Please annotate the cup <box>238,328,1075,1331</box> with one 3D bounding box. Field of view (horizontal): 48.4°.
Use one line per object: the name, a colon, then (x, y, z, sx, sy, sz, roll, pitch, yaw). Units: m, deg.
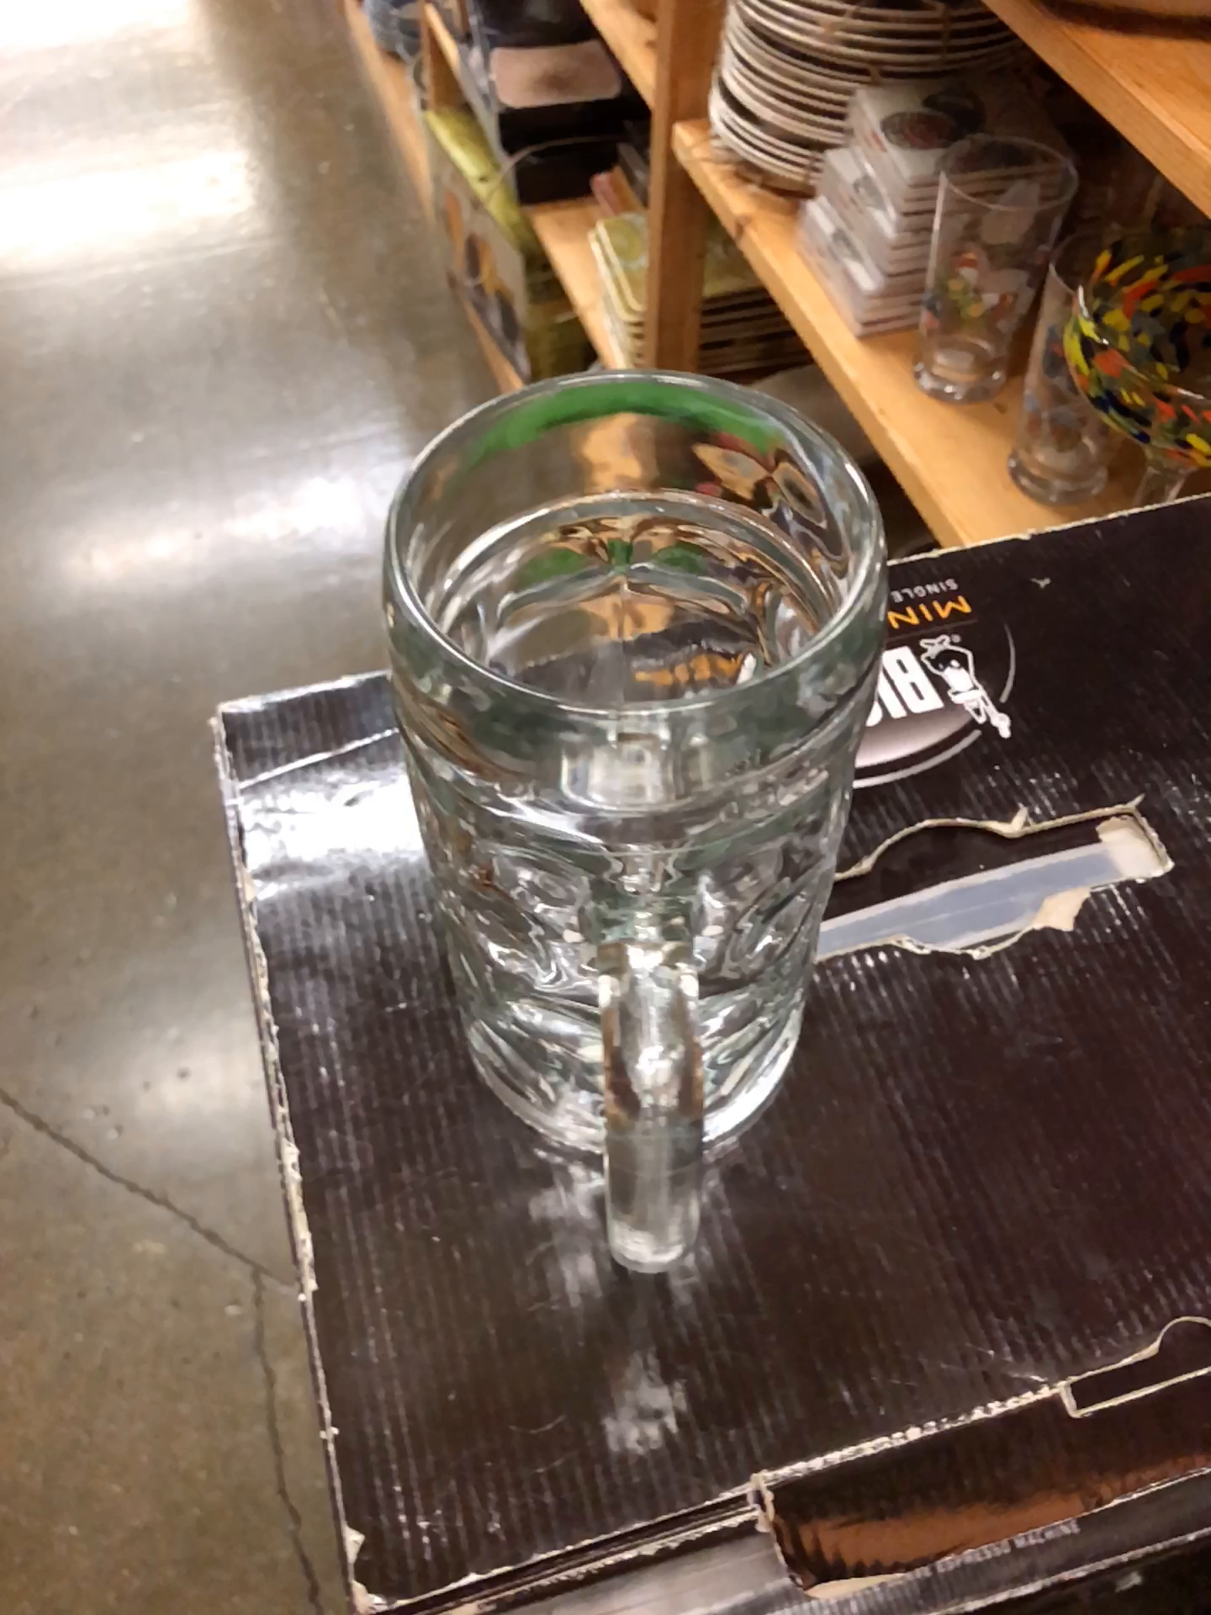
cup: (0.003, 0.010, 0.254, 0.100, 0.136, 0.129, -3, 54, -2)
